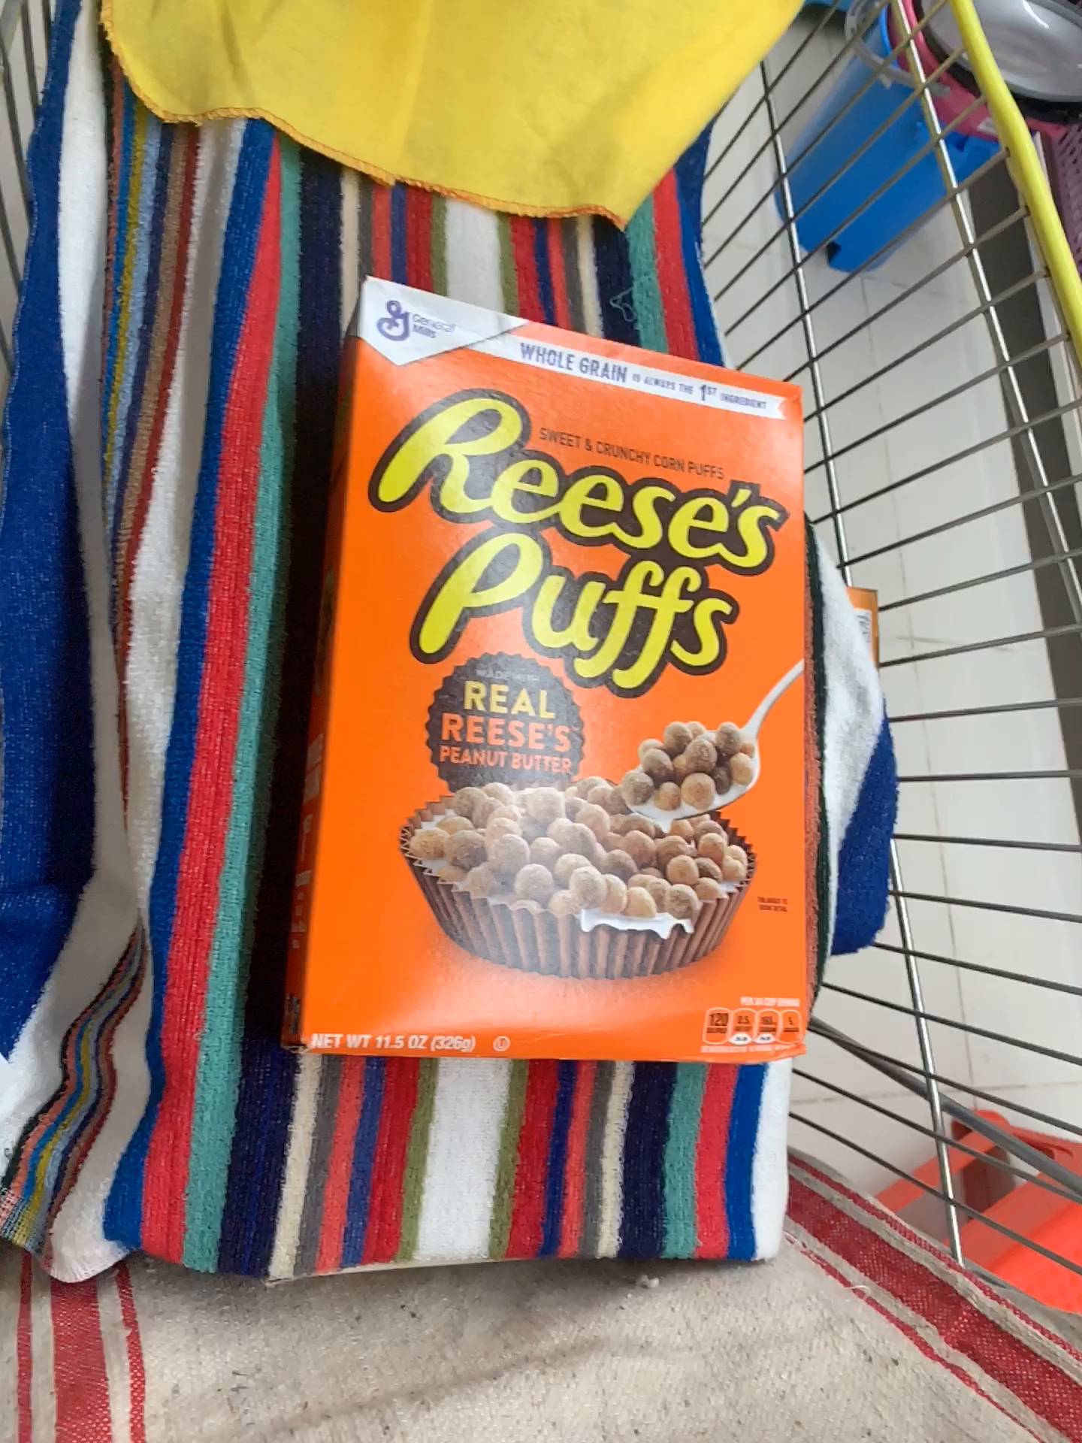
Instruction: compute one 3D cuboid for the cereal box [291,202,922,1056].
[{"bbox_3d":[0.030,-0.020,0.404,0.200,0.080,0.260,7,79,-20],"label":"cereal box"}]
